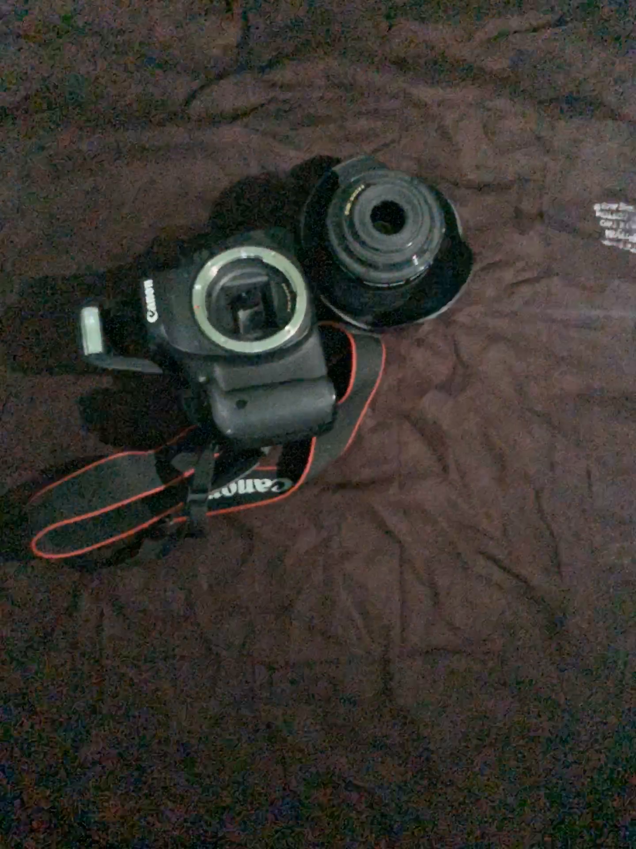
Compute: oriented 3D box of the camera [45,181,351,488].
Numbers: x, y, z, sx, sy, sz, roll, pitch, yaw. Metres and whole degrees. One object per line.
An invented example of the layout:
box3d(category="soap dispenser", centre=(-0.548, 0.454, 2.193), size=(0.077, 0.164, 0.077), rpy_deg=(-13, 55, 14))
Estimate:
box3d(category="camera", centre=(-0.074, -0.055, 0.415), size=(0.150, 0.083, 0.147), rpy_deg=(-11, 72, -8))
